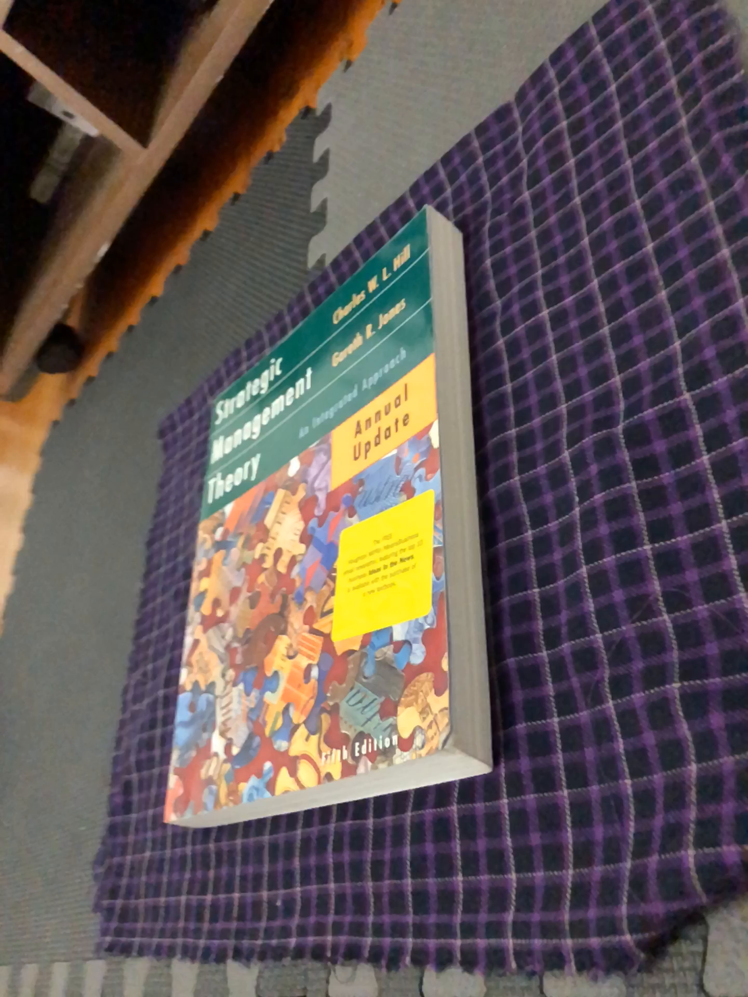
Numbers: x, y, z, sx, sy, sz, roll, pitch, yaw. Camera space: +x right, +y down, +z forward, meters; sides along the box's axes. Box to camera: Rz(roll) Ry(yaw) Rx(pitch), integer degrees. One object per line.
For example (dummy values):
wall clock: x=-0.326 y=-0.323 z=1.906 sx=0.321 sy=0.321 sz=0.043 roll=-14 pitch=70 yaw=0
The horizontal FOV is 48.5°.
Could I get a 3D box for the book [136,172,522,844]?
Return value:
book: x=-0.037 y=0.015 z=0.424 sx=0.231 sy=0.040 sz=0.281 roll=-31 pitch=50 yaw=44
